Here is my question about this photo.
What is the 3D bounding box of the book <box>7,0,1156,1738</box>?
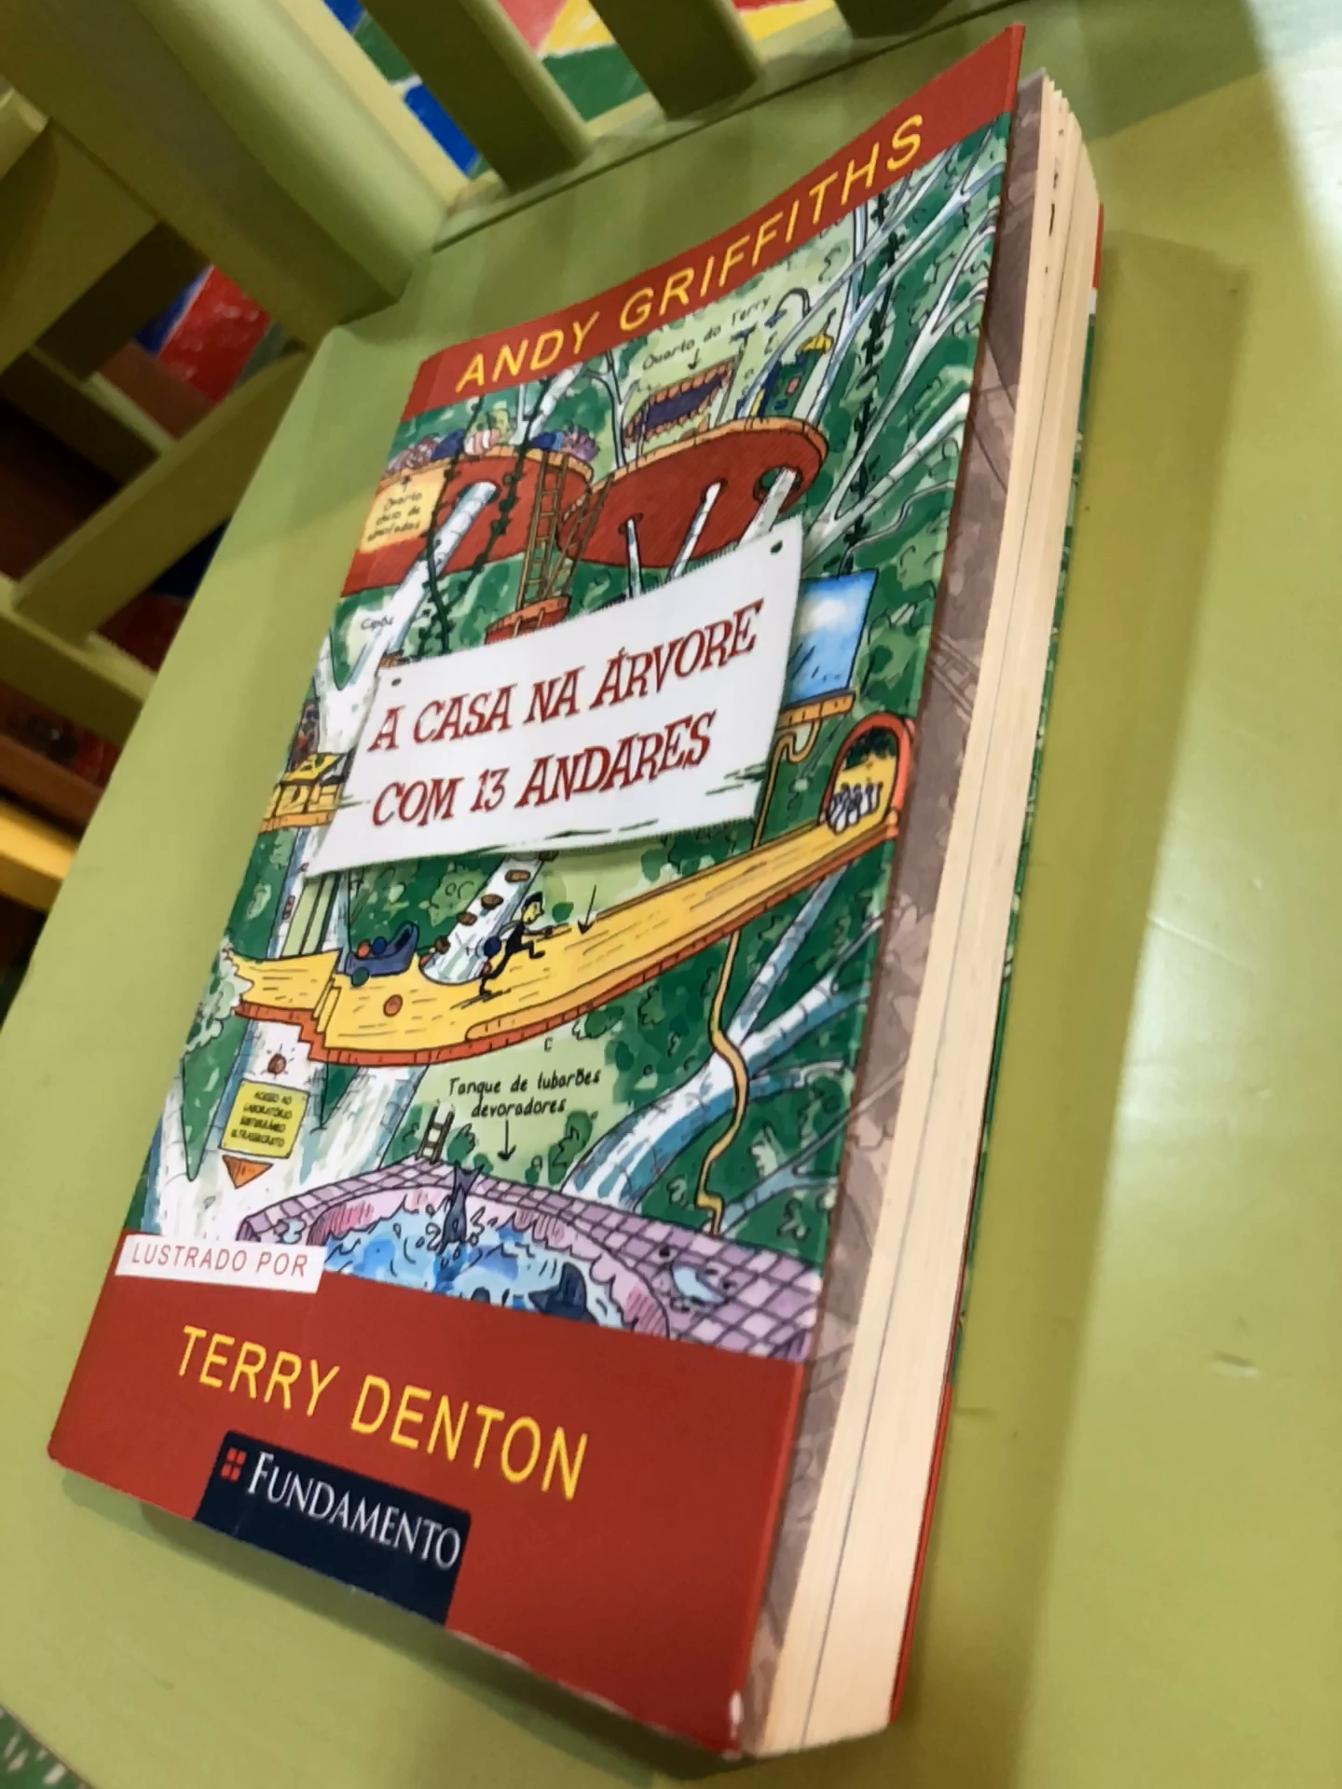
[{"bbox_3d":[-0.014,-0.012,0.226,0.138,0.040,0.210,-5,64,43],"label":"book"}]
